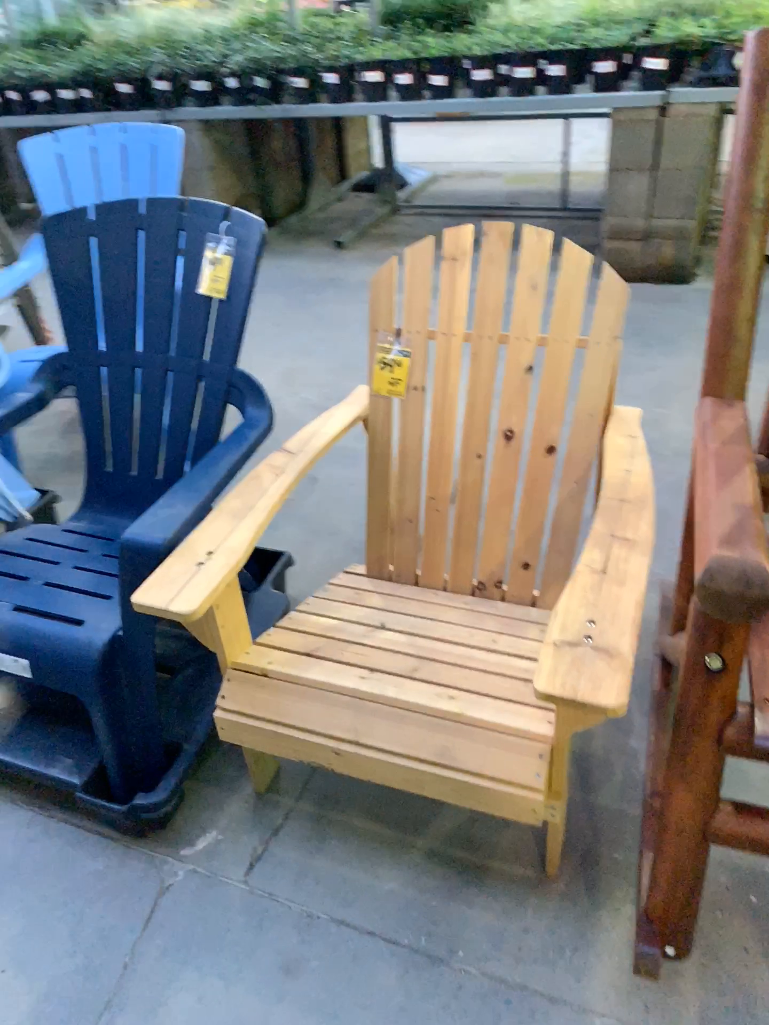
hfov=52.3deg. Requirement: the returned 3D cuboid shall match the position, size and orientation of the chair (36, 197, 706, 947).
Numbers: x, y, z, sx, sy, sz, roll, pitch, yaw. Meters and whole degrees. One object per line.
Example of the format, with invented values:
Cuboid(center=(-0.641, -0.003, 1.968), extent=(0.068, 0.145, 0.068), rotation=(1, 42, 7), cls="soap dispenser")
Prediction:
Cuboid(center=(0.110, 0.011, 1.420), extent=(0.728, 0.886, 0.895), rotation=(8, 38, 20), cls="chair")
